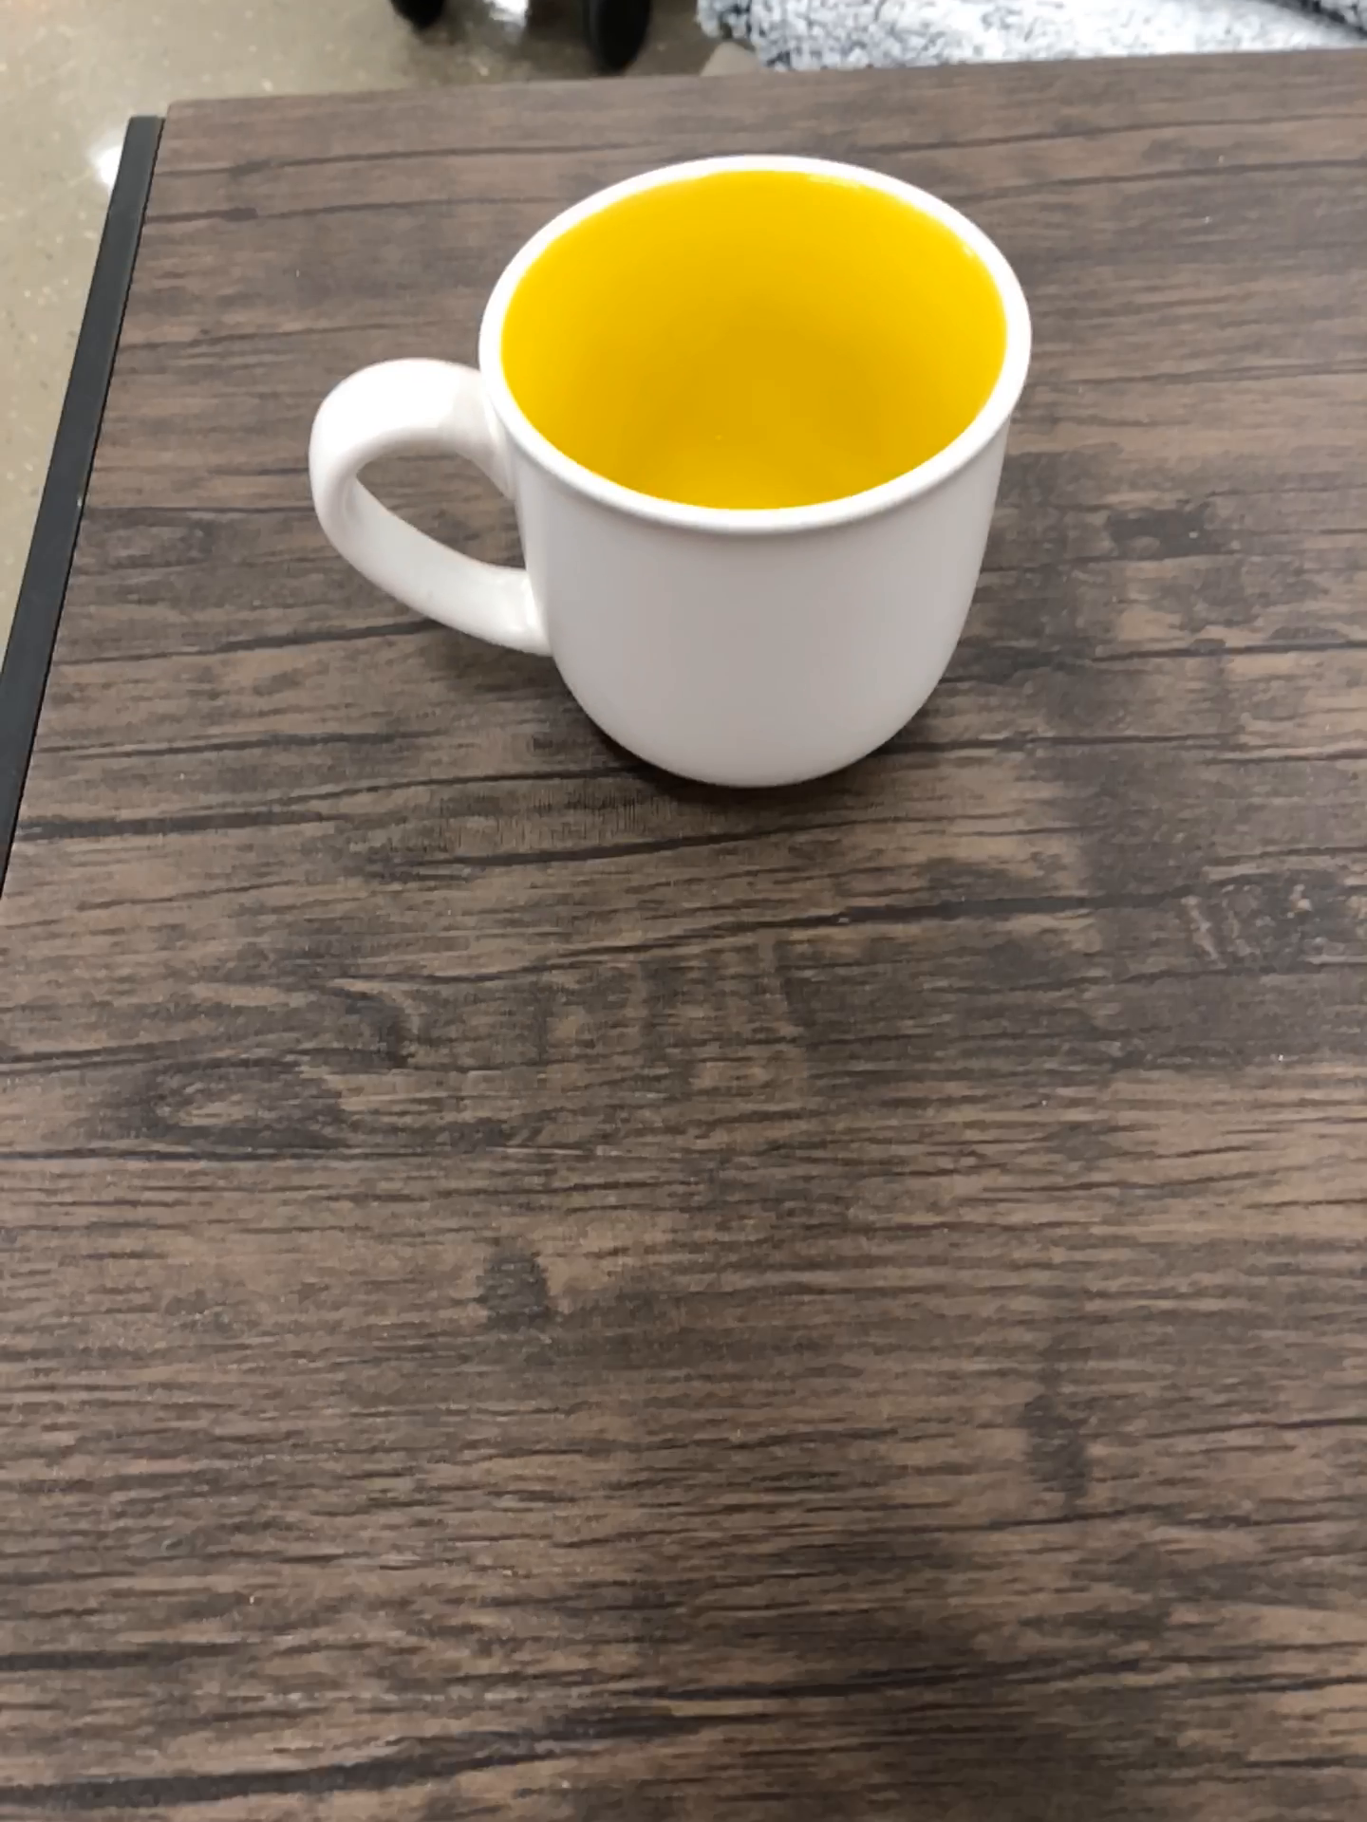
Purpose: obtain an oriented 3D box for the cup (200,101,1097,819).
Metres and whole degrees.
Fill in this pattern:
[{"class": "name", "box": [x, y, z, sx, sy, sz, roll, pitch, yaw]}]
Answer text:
[{"class": "cup", "box": [-0.004, -0.079, 0.283, 0.130, 0.100, 0.080, 0, 59, 2]}]
